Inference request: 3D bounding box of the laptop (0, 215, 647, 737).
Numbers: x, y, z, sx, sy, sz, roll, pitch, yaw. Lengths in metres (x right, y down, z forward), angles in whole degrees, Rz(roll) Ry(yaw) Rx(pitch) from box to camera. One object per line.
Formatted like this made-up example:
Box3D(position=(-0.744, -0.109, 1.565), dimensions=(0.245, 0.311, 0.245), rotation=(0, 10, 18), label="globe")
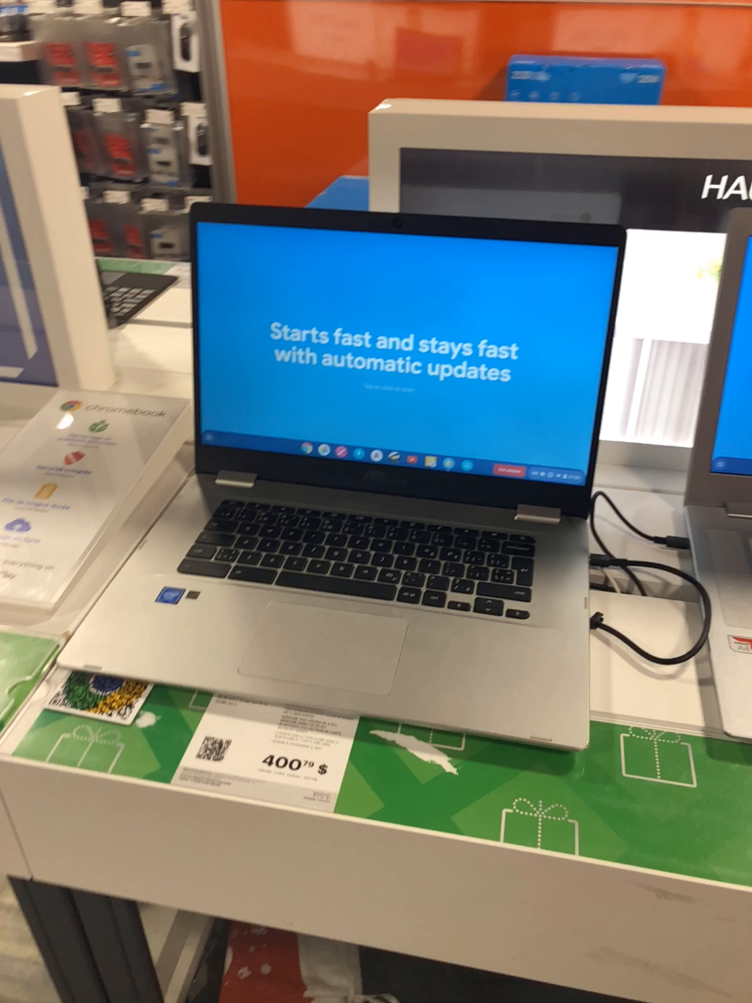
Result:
Box3D(position=(-0.010, -0.044, 0.576), dimensions=(0.337, 0.225, 0.287), rotation=(6, 34, 11), label="laptop")
